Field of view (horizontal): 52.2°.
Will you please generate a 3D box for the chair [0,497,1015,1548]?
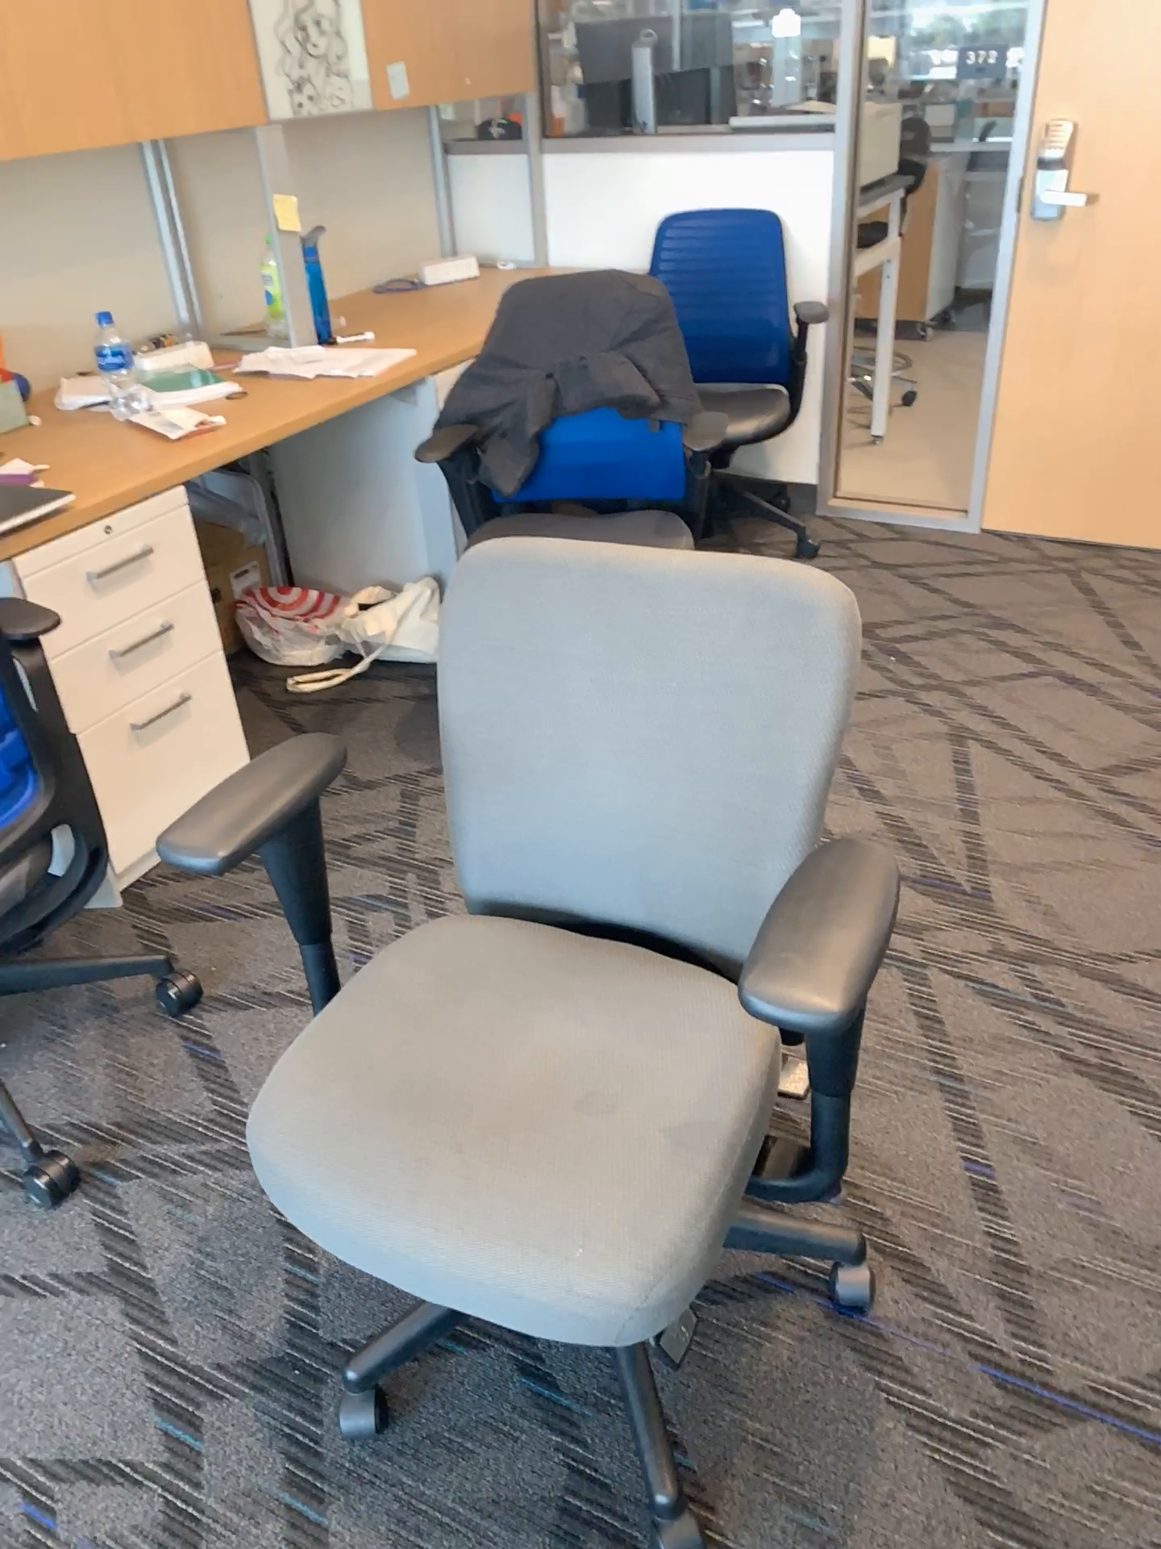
[{"bbox_3d":[-0.012,0.241,1.259,0.671,0.813,0.664,14,35,27],"label":"chair"}]
